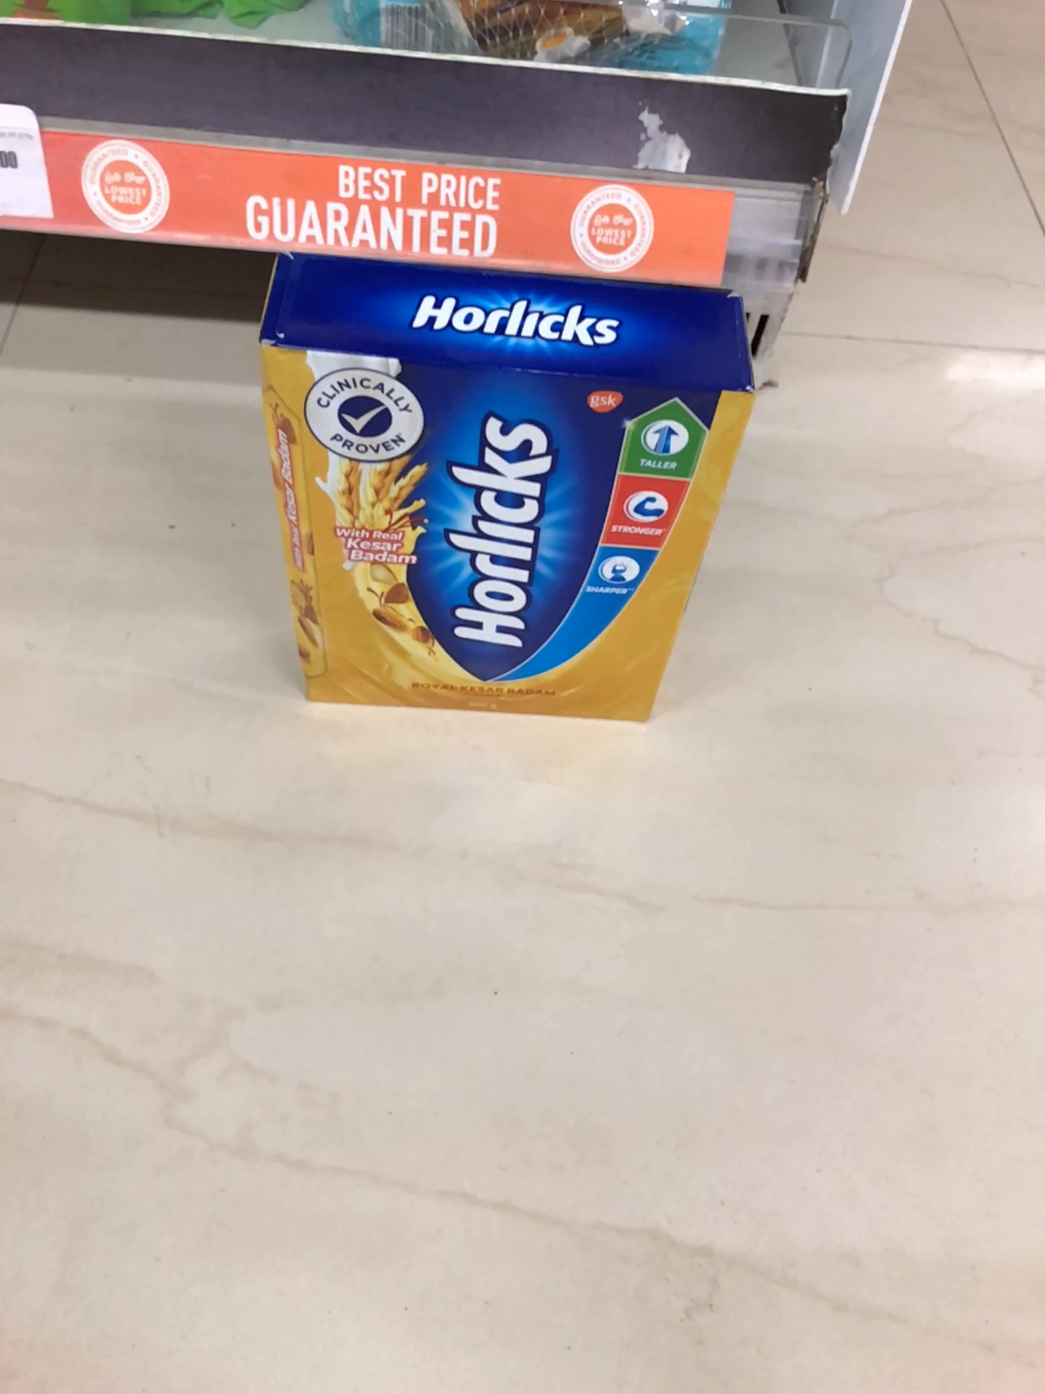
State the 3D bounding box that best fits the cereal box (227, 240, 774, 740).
[{"bbox_3d":[-0.012,-0.059,0.405,0.150,0.179,0.050,3,55,-4],"label":"cereal box"}]
